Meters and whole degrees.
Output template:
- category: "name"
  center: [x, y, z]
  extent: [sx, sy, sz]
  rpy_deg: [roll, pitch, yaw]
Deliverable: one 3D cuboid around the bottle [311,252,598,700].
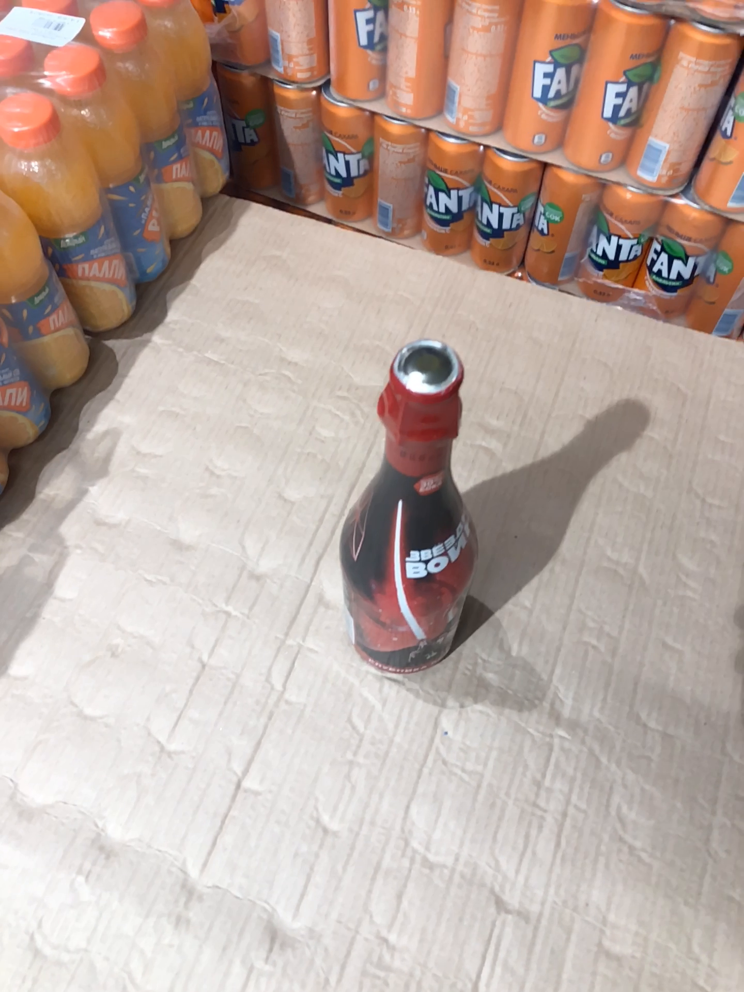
- category: "bottle"
  center: [0.031, 0.016, 0.429]
  extent: [0.085, 0.279, 0.086]
  rpy_deg: [0, 62, -1]
